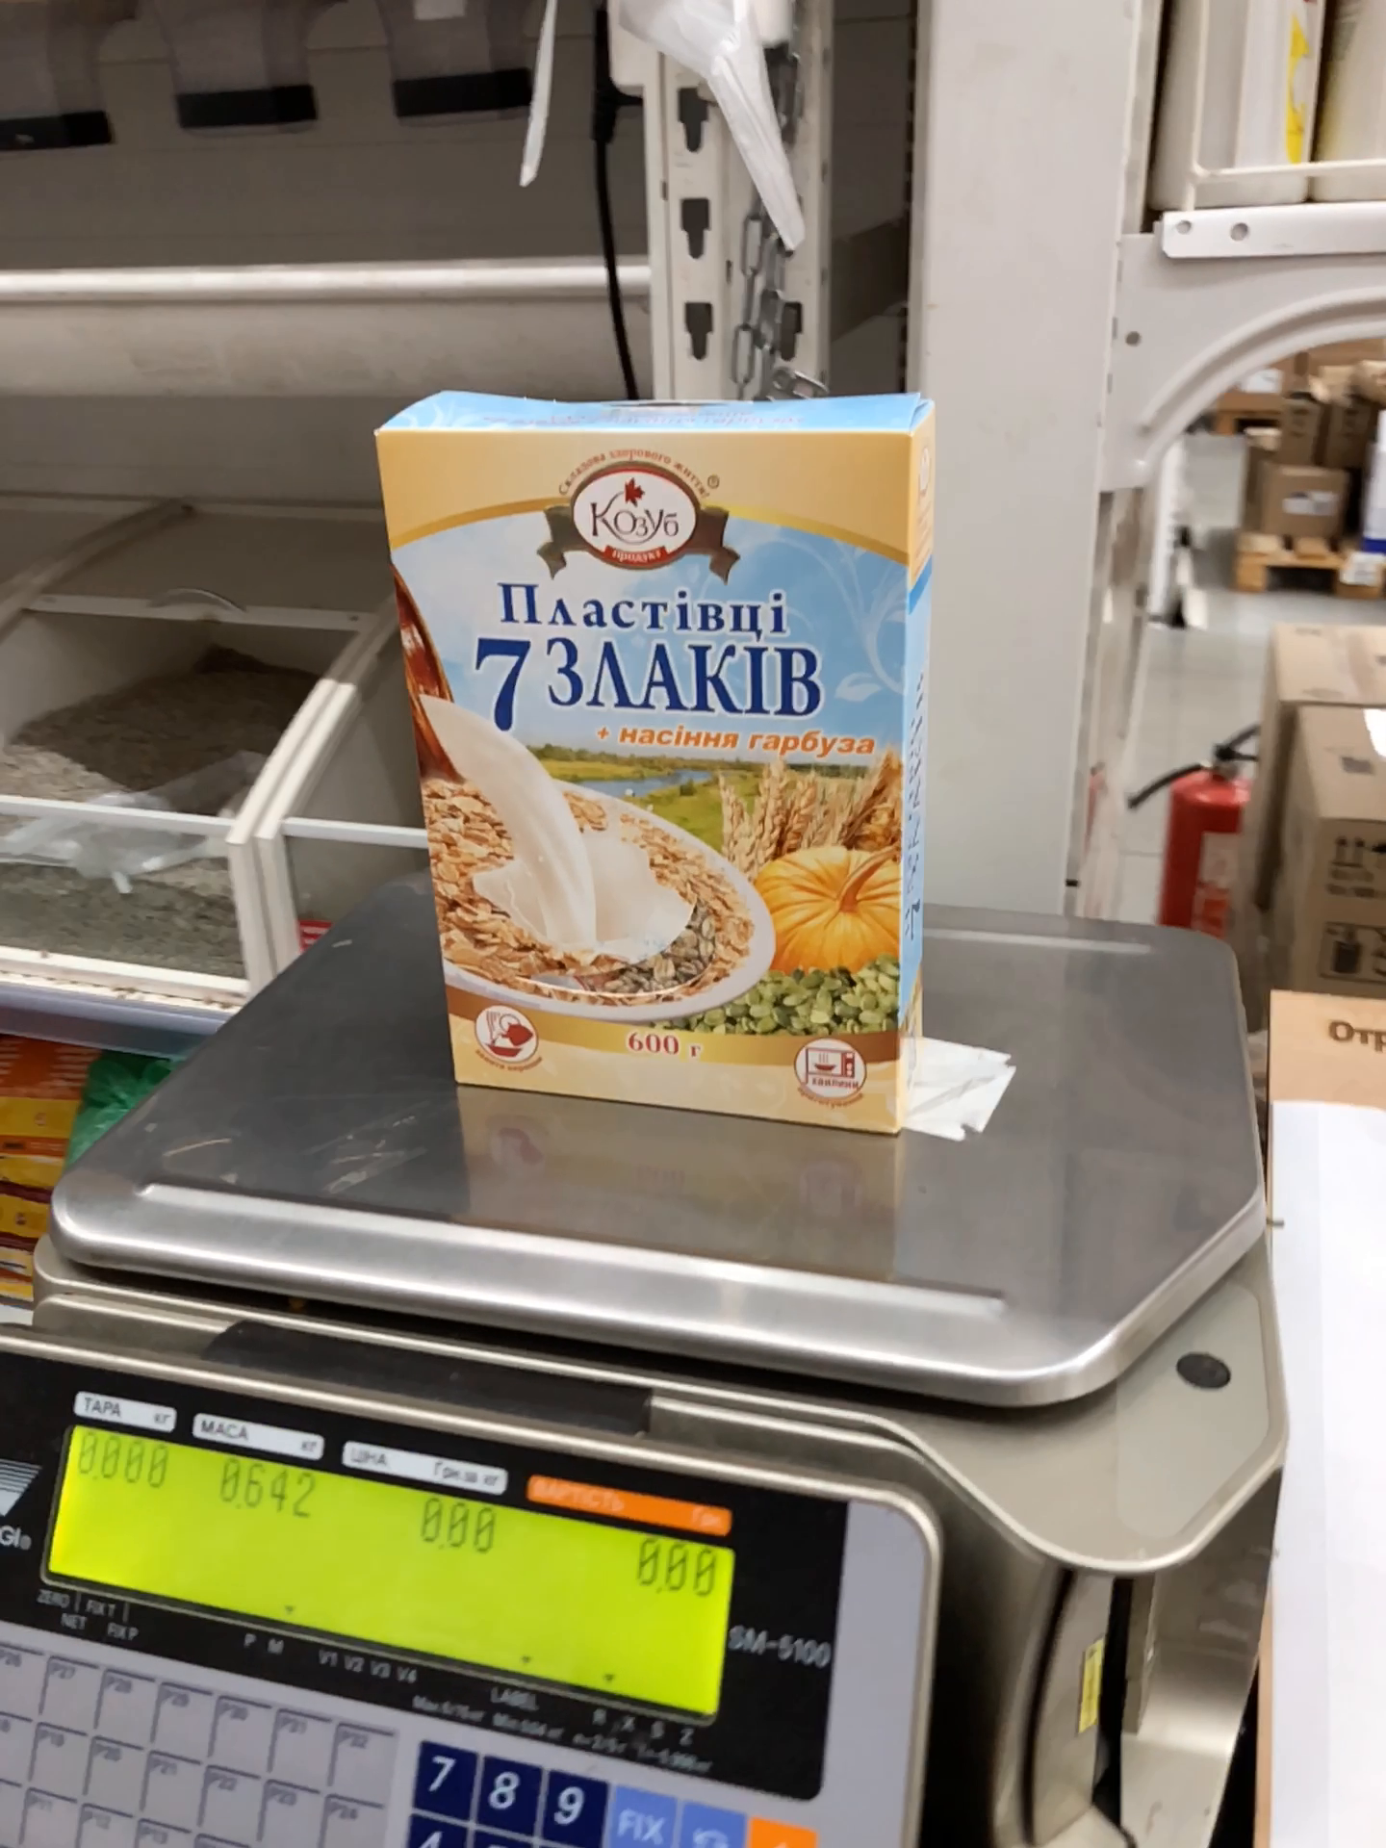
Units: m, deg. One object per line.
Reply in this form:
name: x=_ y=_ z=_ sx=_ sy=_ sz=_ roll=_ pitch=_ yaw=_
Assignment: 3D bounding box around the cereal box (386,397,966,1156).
cereal box: x=0.000 y=-0.047 z=0.496 sx=0.160 sy=0.228 sz=0.060 roll=5 pitch=27 yaw=15
